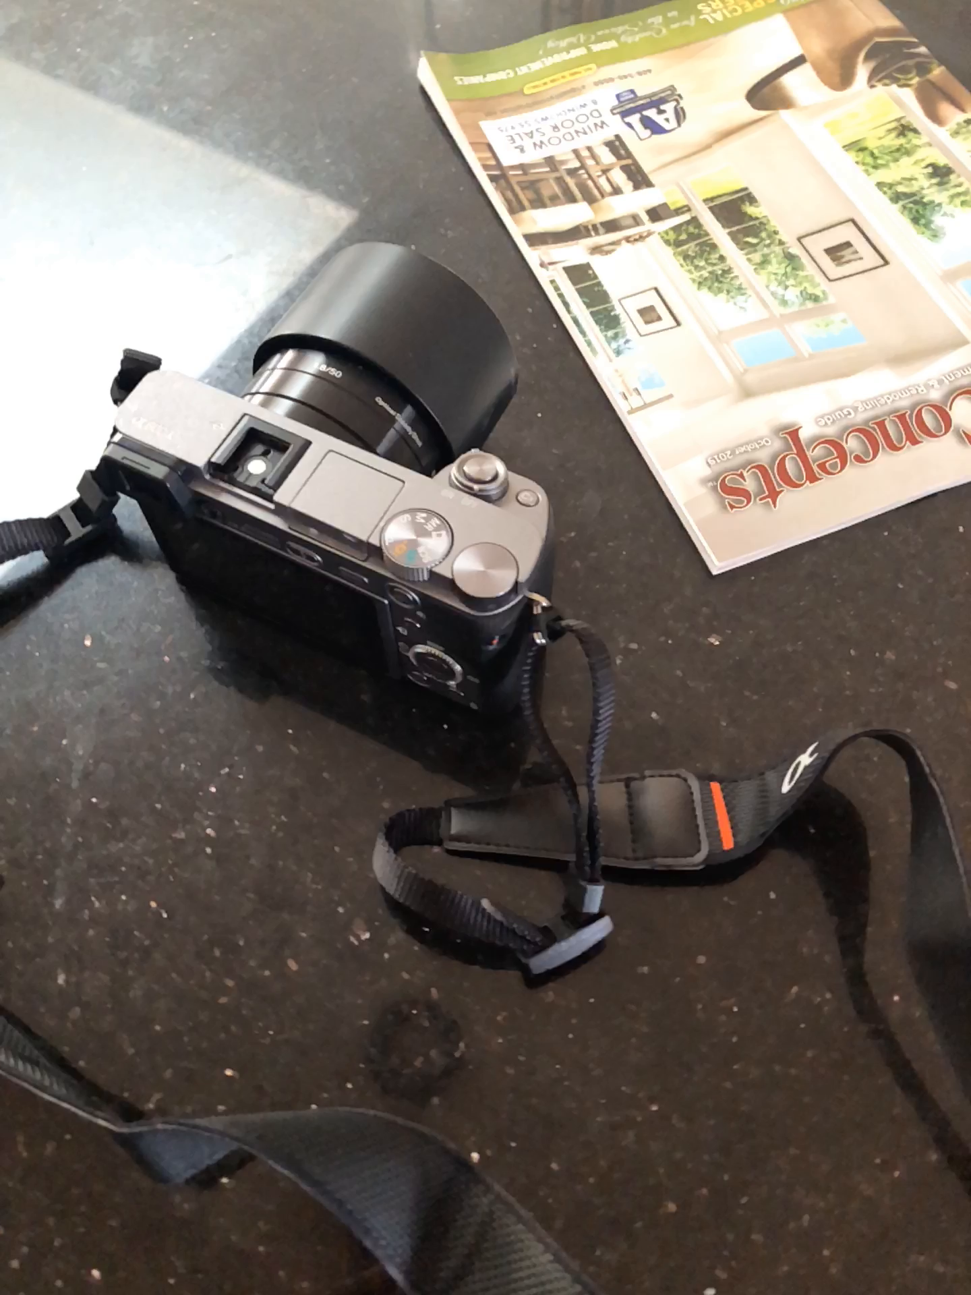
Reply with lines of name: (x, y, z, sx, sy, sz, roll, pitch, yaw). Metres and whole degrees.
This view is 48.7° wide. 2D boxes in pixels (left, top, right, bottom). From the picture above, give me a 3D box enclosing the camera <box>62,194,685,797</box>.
camera: (-0.027, -0.043, 0.319, 0.127, 0.100, 0.099, 25, 65, 13)
